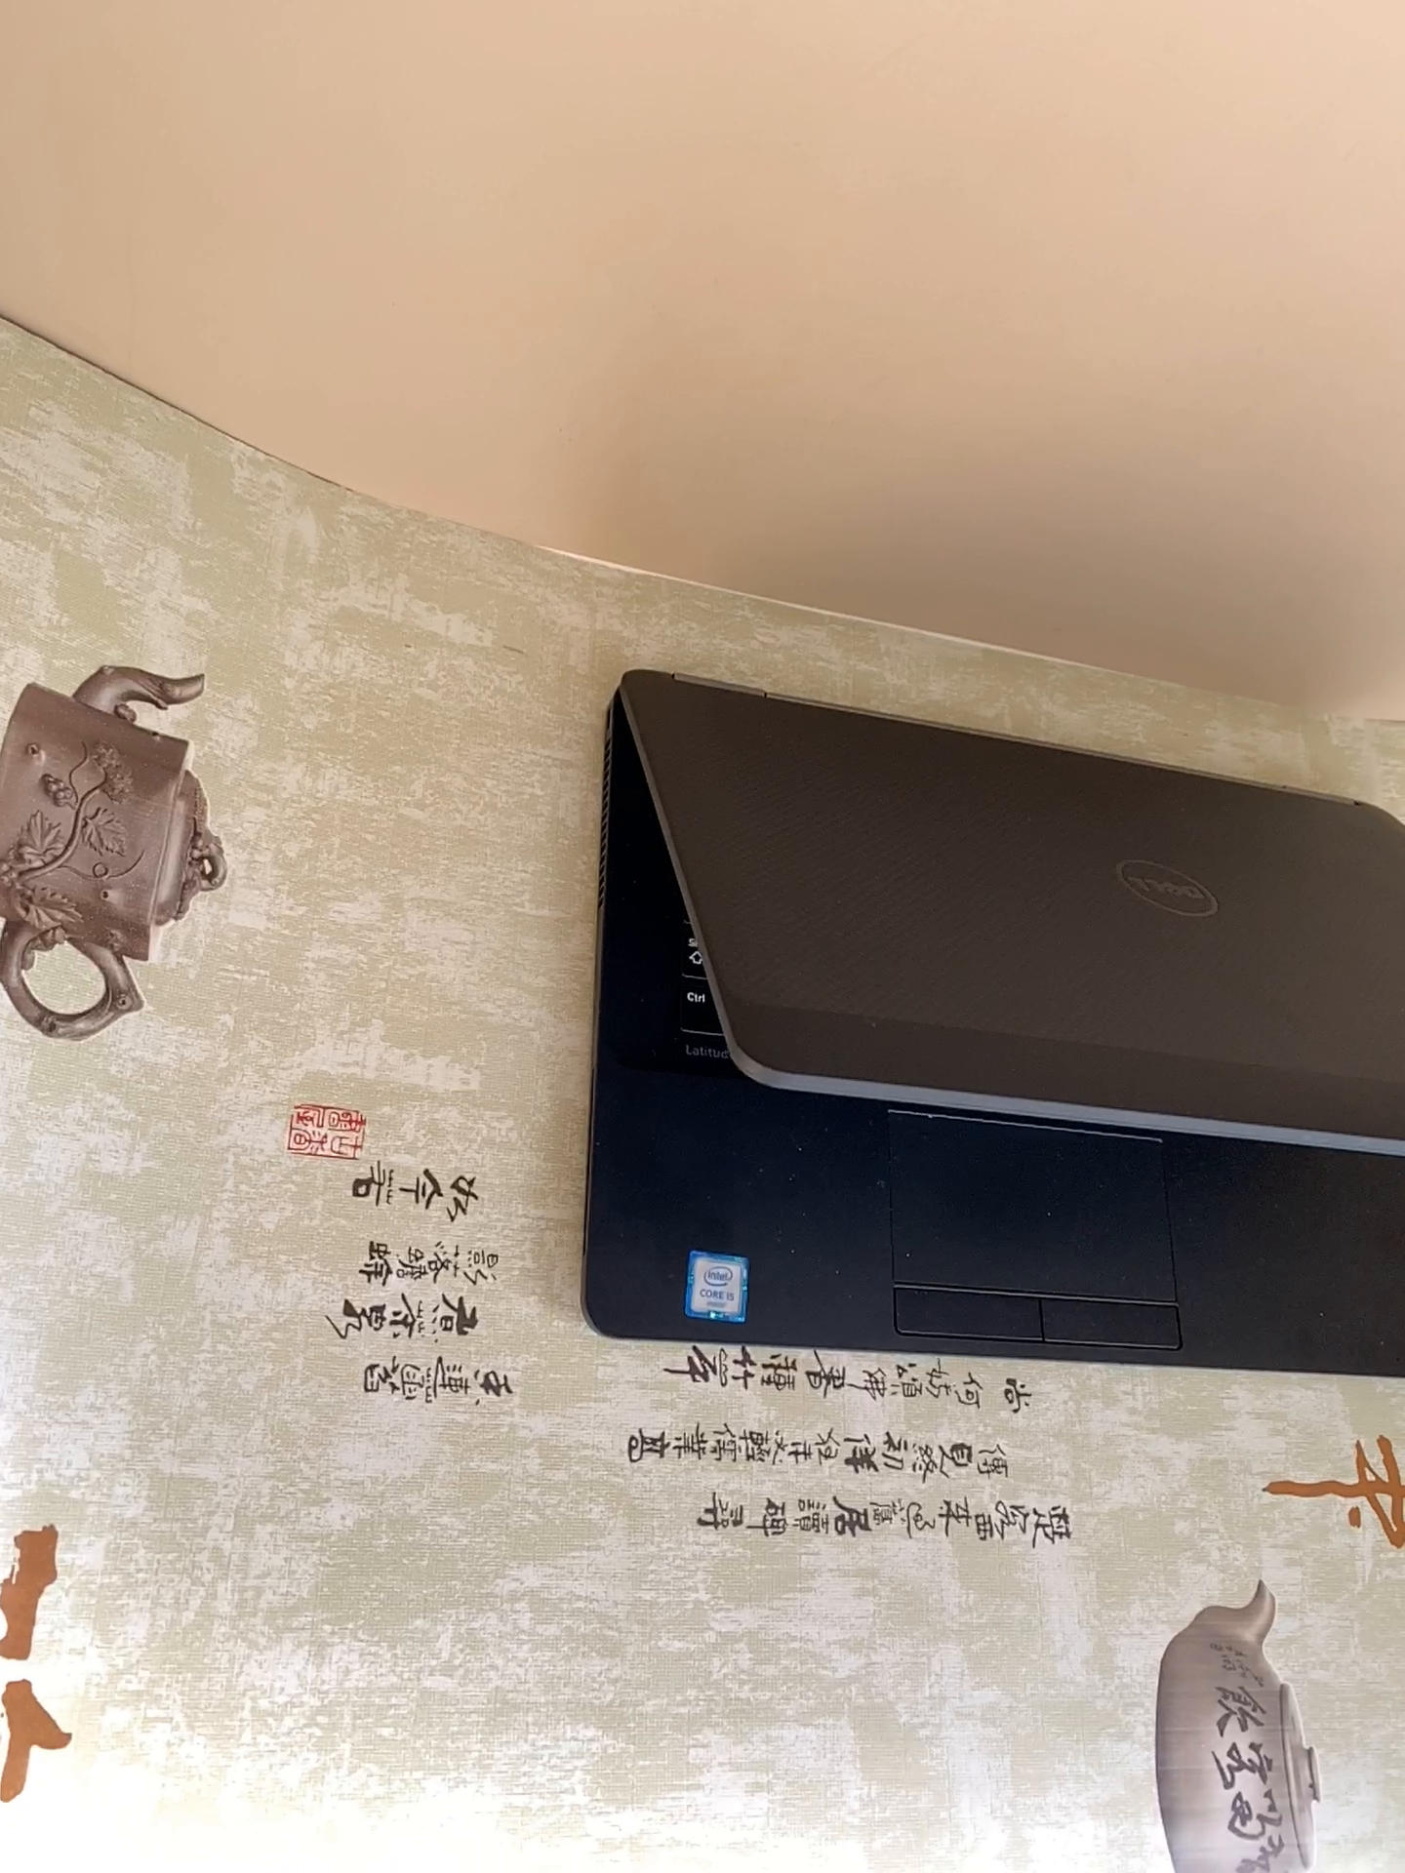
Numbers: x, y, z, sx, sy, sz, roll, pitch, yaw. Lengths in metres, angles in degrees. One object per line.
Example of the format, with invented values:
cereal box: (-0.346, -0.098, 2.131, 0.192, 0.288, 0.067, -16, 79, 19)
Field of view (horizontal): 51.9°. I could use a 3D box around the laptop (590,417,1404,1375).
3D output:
laptop: (0.137, 0.009, 0.428, 0.309, 0.136, 0.212, 8, 67, -16)
